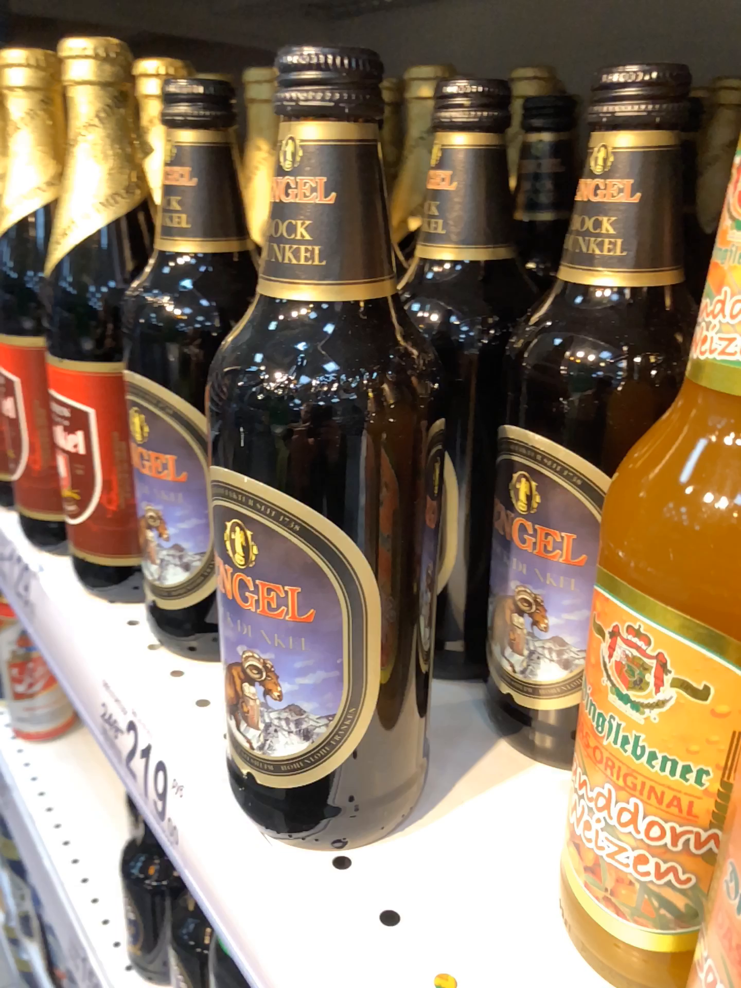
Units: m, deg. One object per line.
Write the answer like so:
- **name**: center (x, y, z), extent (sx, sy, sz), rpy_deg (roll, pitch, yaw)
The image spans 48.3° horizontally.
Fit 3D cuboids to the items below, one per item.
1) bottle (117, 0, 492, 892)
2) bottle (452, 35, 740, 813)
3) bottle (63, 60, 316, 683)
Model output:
- **bottle**: center (-0.018, -0.007, 0.243), extent (0.061, 0.229, 0.070), rpy_deg (-18, 29, -38)
- **bottle**: center (0.082, -0.018, 0.282), extent (0.070, 0.233, 0.069), rpy_deg (1, 22, 0)
- **bottle**: center (-0.070, -0.046, 0.346), extent (0.061, 0.233, 0.070), rpy_deg (-18, 28, -38)
